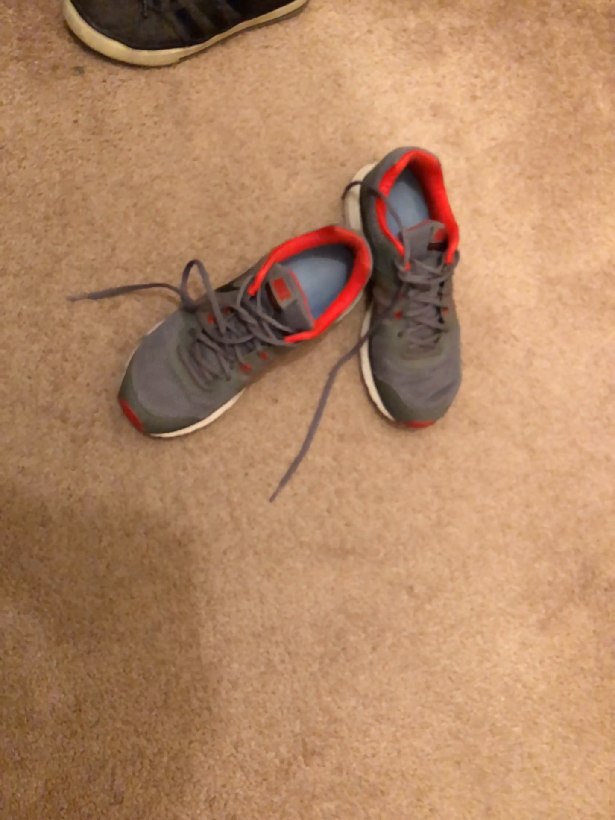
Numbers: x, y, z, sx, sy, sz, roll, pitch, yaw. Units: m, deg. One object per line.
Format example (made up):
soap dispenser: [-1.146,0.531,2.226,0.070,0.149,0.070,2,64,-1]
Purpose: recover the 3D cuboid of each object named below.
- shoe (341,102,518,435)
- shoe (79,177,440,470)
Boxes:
shoe: [0.114,-0.131,0.683,0.113,0.120,0.297,-2,83,-13]
shoe: [-0.044,-0.076,0.639,0.298,0.120,0.113,-34,91,-15]
